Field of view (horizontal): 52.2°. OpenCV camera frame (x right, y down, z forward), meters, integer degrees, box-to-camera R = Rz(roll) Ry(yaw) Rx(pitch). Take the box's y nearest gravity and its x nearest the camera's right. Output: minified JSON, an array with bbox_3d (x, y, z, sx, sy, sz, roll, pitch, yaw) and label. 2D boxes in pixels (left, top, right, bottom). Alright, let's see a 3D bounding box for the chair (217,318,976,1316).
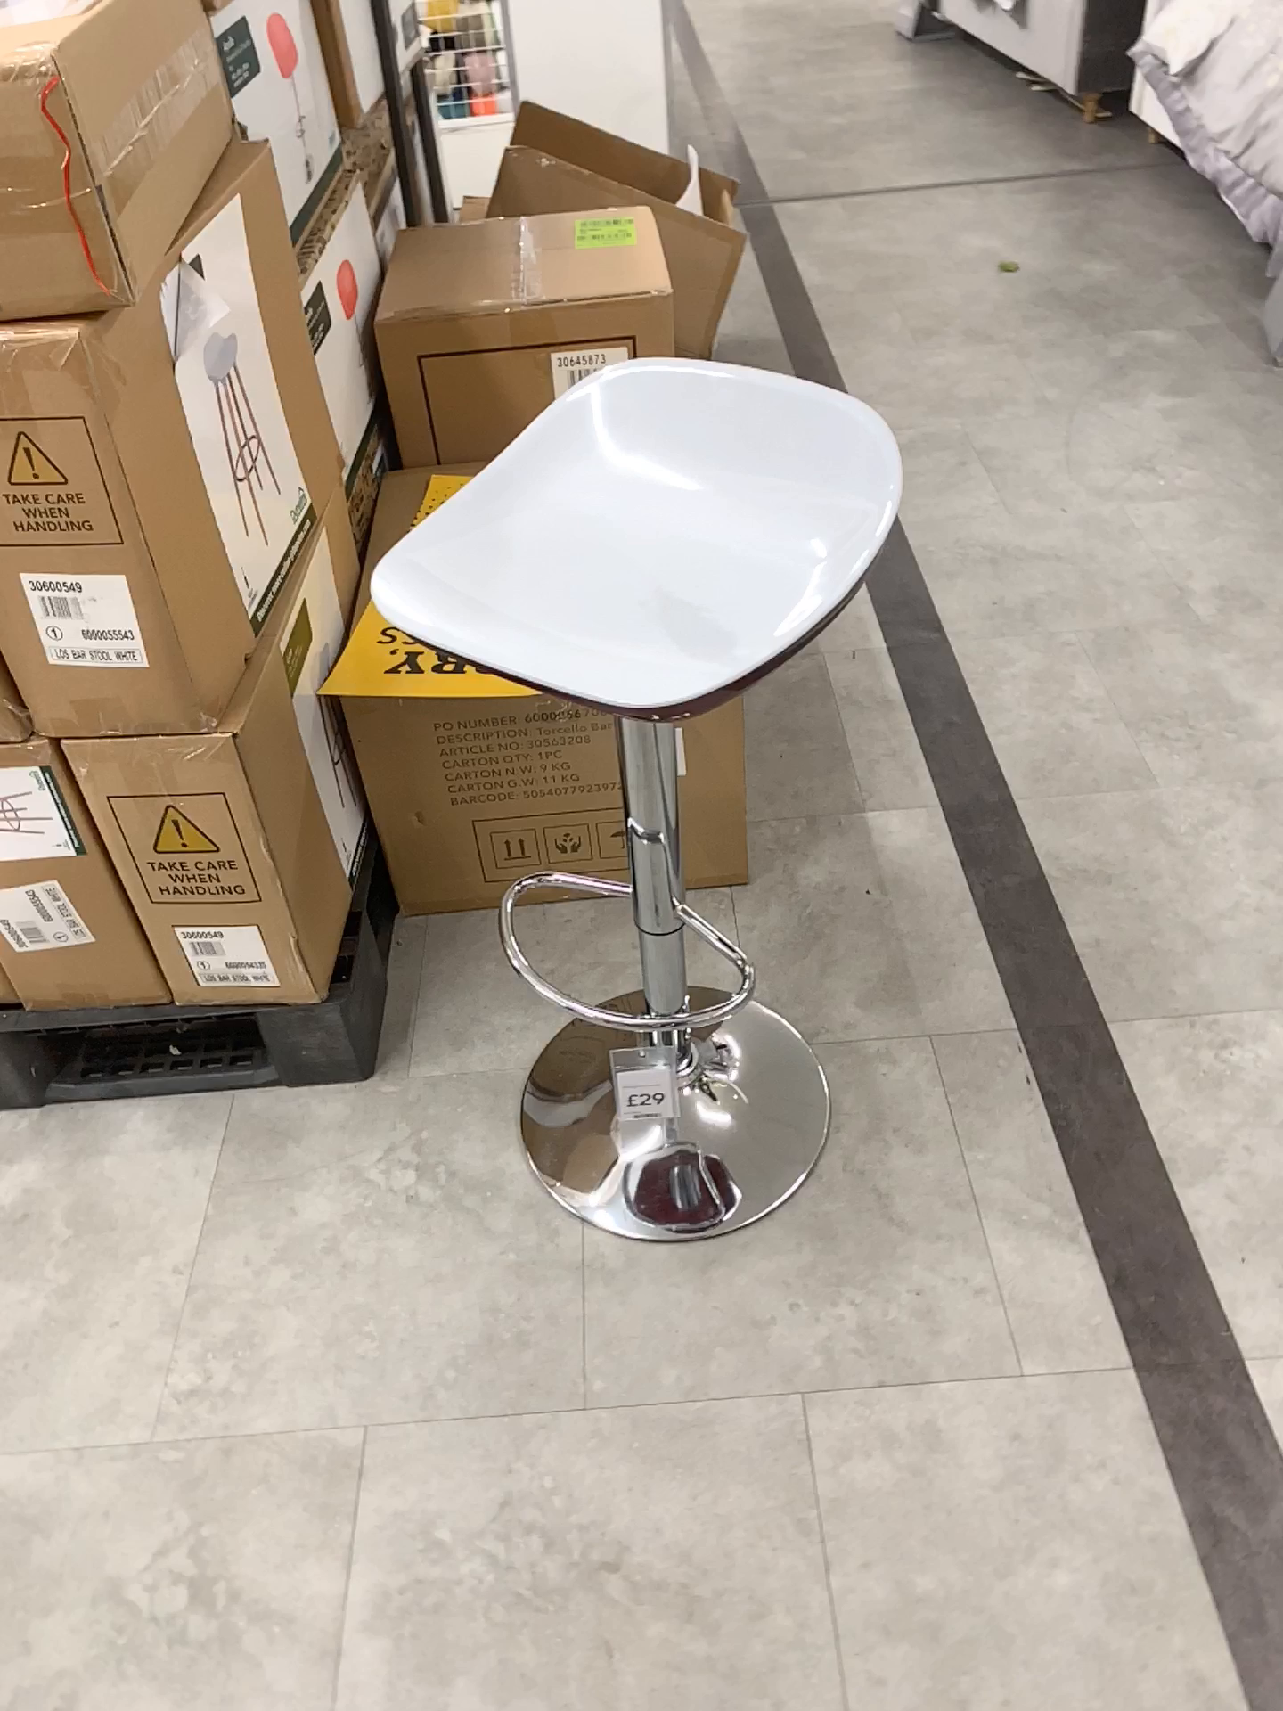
[{"bbox_3d":[0.006,-0.026,1.294,0.436,0.792,0.437,19,47,26],"label":"chair"}]
